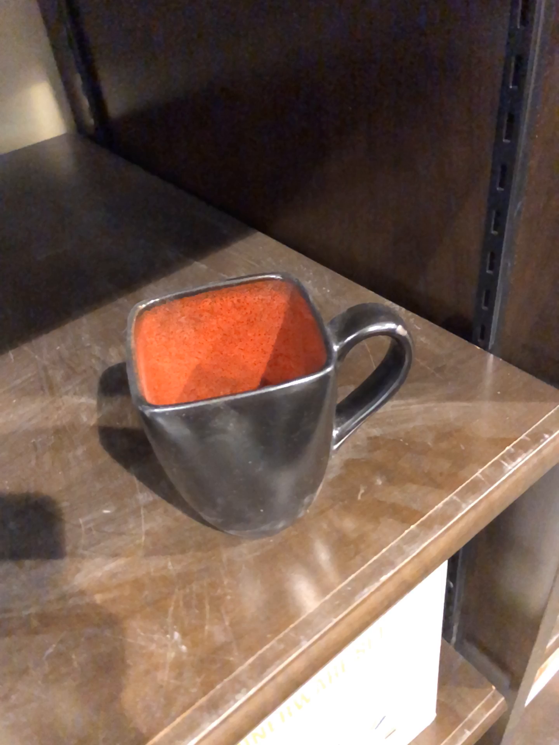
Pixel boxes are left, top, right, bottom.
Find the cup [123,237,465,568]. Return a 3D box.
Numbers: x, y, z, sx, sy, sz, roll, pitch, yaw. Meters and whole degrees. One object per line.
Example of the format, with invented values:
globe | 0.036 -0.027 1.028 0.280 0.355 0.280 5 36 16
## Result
cup | 0.002 0.009 0.279 0.123 0.083 0.095 -13 39 -4
